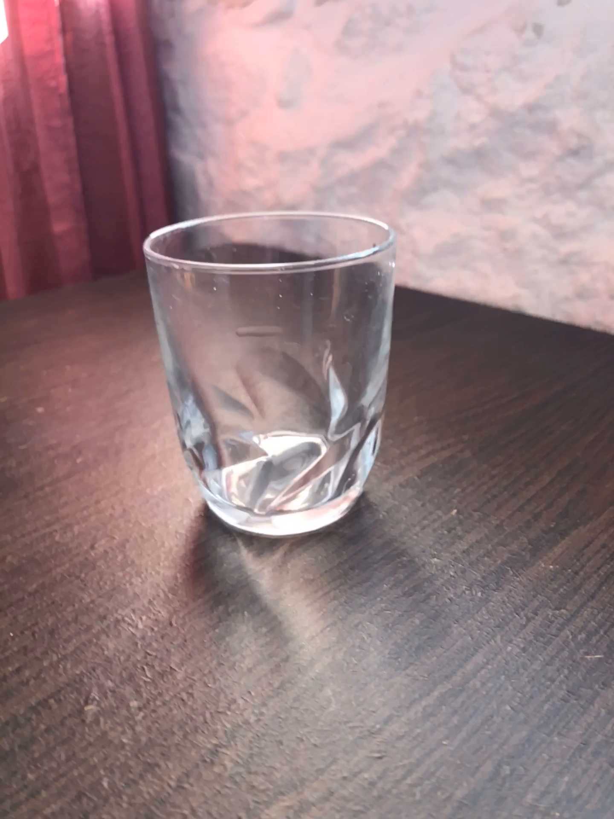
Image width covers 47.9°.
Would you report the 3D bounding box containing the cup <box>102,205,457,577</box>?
[{"bbox_3d":[-0.009,-0.015,0.226,0.075,0.085,0.078,-1,25,0],"label":"cup"}]
